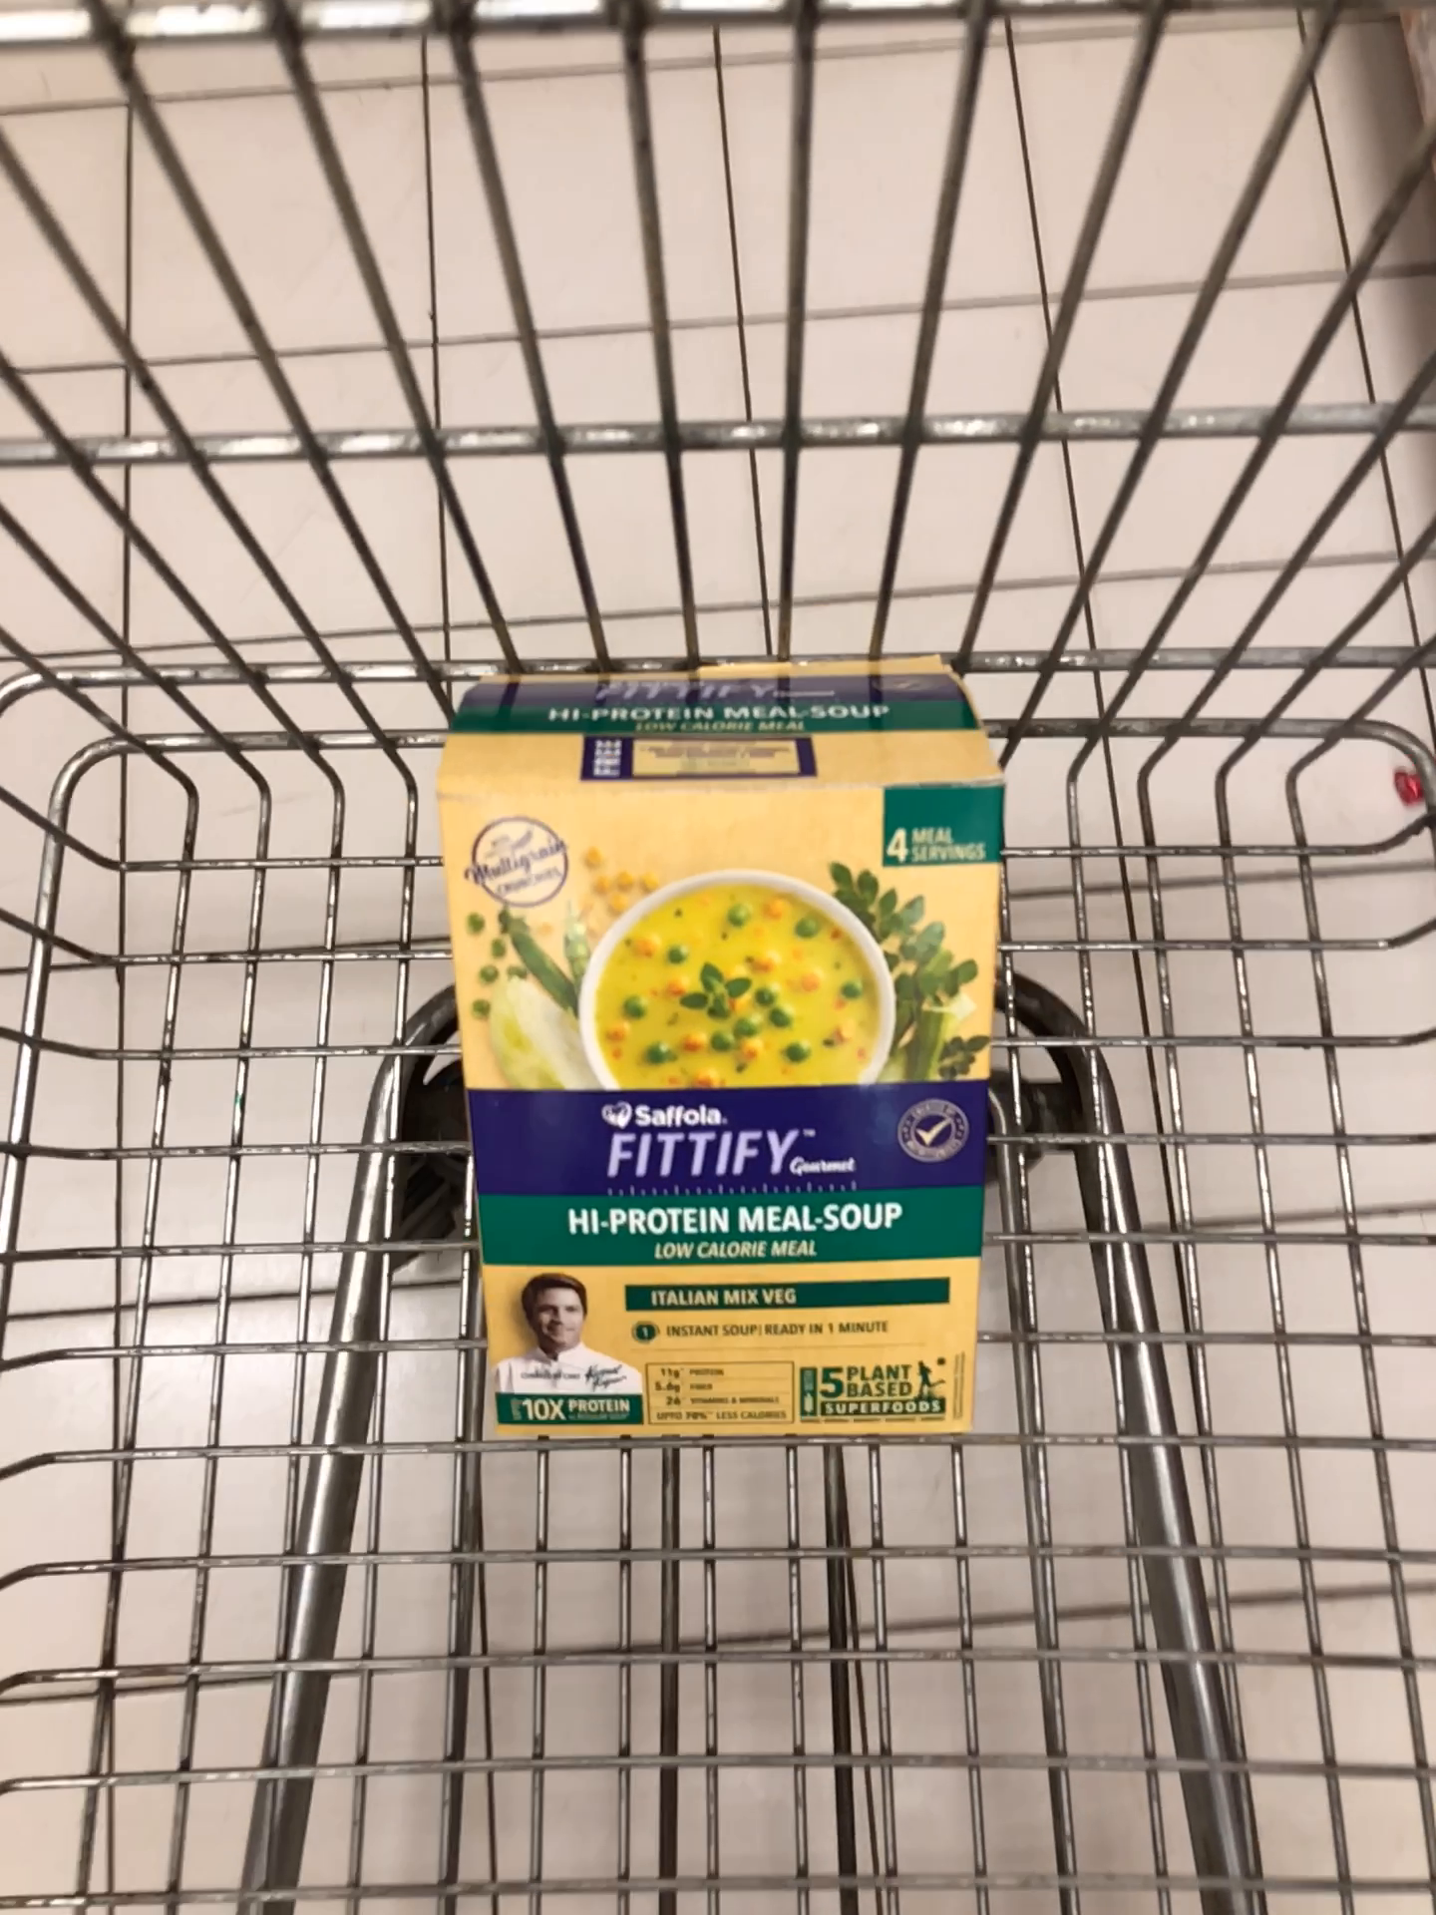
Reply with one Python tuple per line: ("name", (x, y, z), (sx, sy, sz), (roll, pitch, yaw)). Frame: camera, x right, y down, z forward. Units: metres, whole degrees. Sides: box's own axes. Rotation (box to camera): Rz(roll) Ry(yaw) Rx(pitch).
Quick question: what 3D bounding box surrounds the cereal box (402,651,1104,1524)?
("cereal box", (0.008, 0.029, 0.368), (0.130, 0.090, 0.180), (-1, 113, 1))
